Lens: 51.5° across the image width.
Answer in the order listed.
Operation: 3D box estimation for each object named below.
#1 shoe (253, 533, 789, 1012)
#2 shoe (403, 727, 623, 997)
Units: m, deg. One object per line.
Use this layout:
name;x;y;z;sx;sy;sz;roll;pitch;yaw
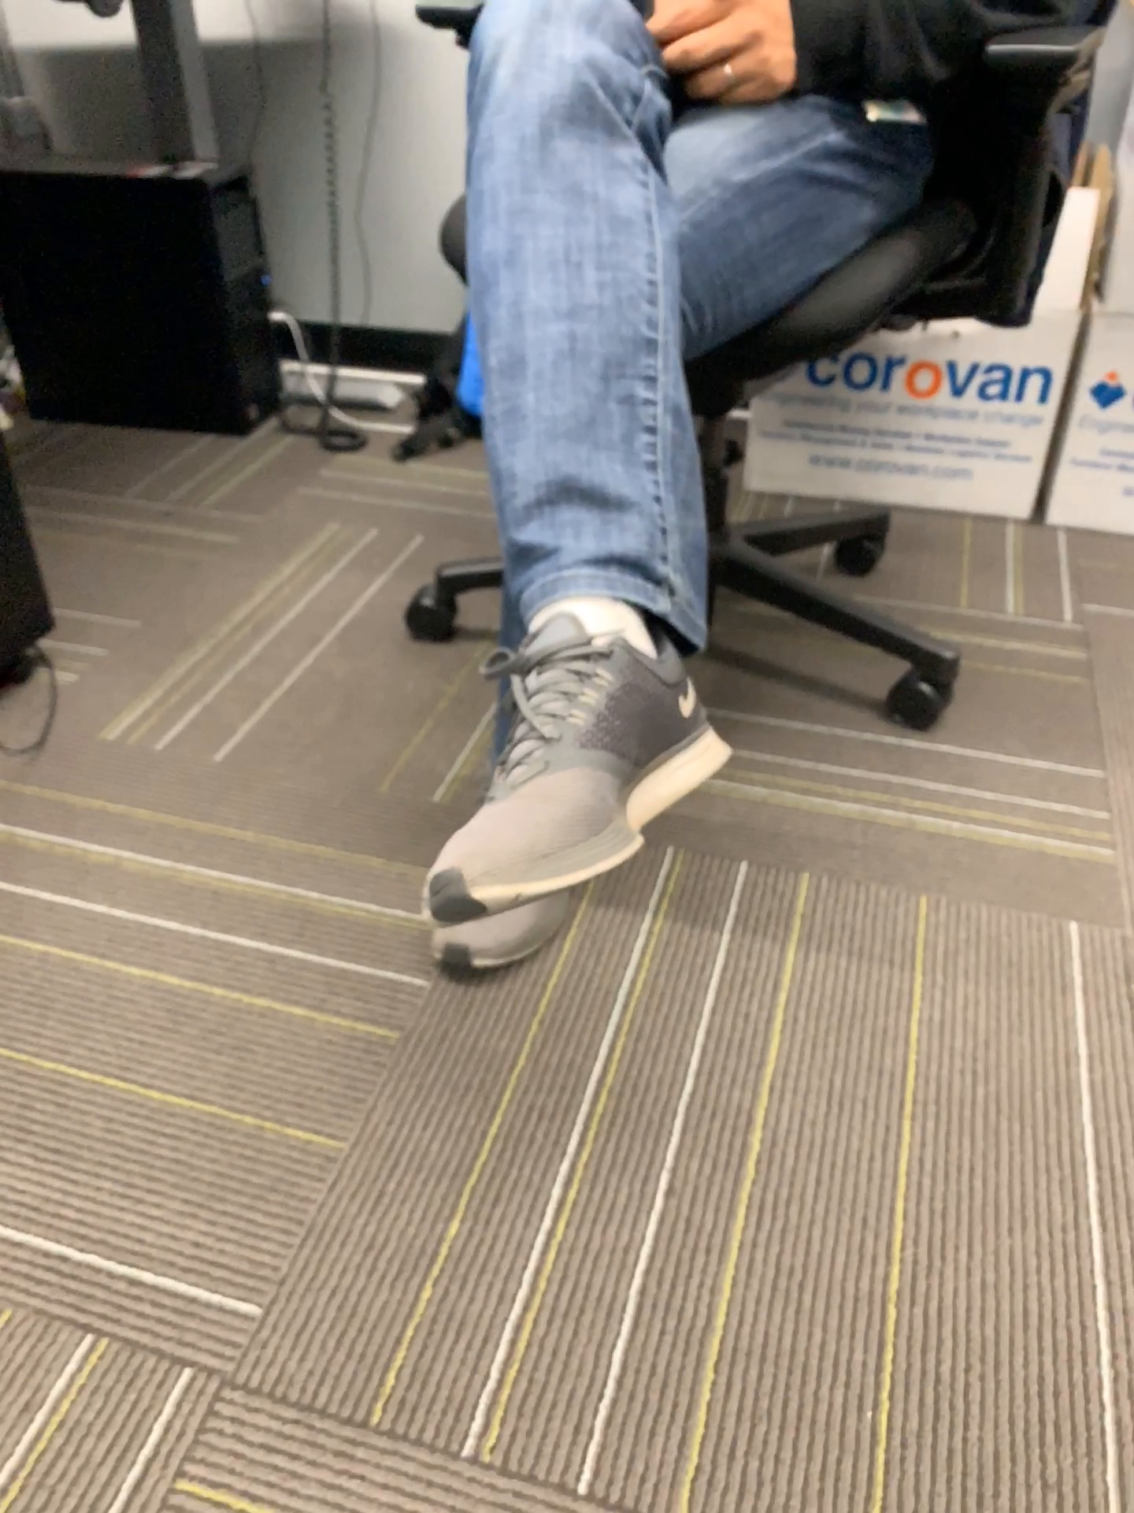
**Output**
shoe;-0.009;-0.004;0.690;0.122;0.143;0.296;-27;7;39
shoe;-0.043;0.090;1.126;0.120;0.085;0.270;11;37;14
